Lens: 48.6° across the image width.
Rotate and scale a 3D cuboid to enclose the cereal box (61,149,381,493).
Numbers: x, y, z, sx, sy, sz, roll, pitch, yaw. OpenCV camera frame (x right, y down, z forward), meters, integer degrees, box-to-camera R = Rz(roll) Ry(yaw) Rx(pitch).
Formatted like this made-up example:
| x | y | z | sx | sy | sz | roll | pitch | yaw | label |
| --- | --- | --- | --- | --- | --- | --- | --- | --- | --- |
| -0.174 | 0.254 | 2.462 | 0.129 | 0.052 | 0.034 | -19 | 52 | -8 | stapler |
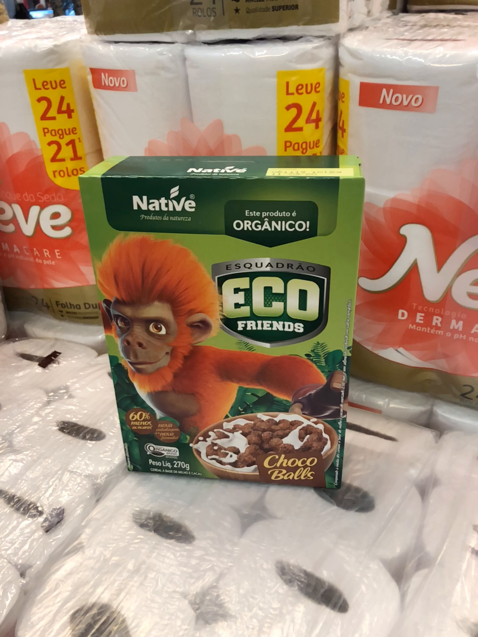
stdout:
| x | y | z | sx | sy | sz | roll | pitch | yaw | label |
| --- | --- | --- | --- | --- | --- | --- | --- | --- | --- |
| -0.006 | 0.005 | 0.371 | 0.180 | 0.228 | 0.060 | 3 | 28 | 9 | cereal box |
